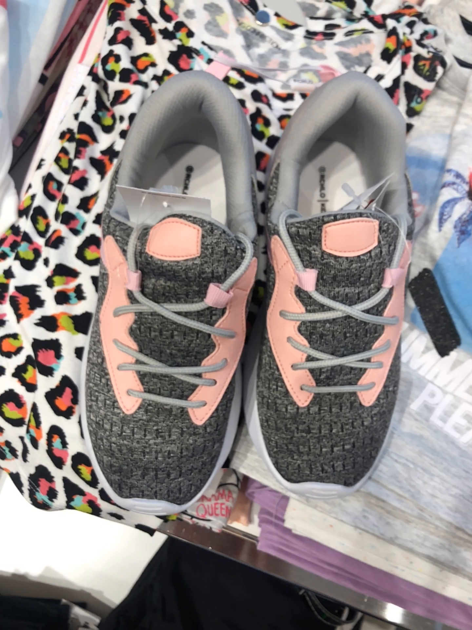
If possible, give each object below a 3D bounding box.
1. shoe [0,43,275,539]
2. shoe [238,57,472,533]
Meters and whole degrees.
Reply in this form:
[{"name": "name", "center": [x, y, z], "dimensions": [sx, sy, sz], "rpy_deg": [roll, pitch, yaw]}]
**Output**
[{"name": "shoe", "center": [-0.040, -0.011, 0.288], "dimensions": [0.100, 0.100, 0.220], "rpy_deg": [5, 81, 0]}, {"name": "shoe", "center": [0.055, -0.008, 0.283], "dimensions": [0.100, 0.100, 0.210], "rpy_deg": [2, 81, -1]}]
